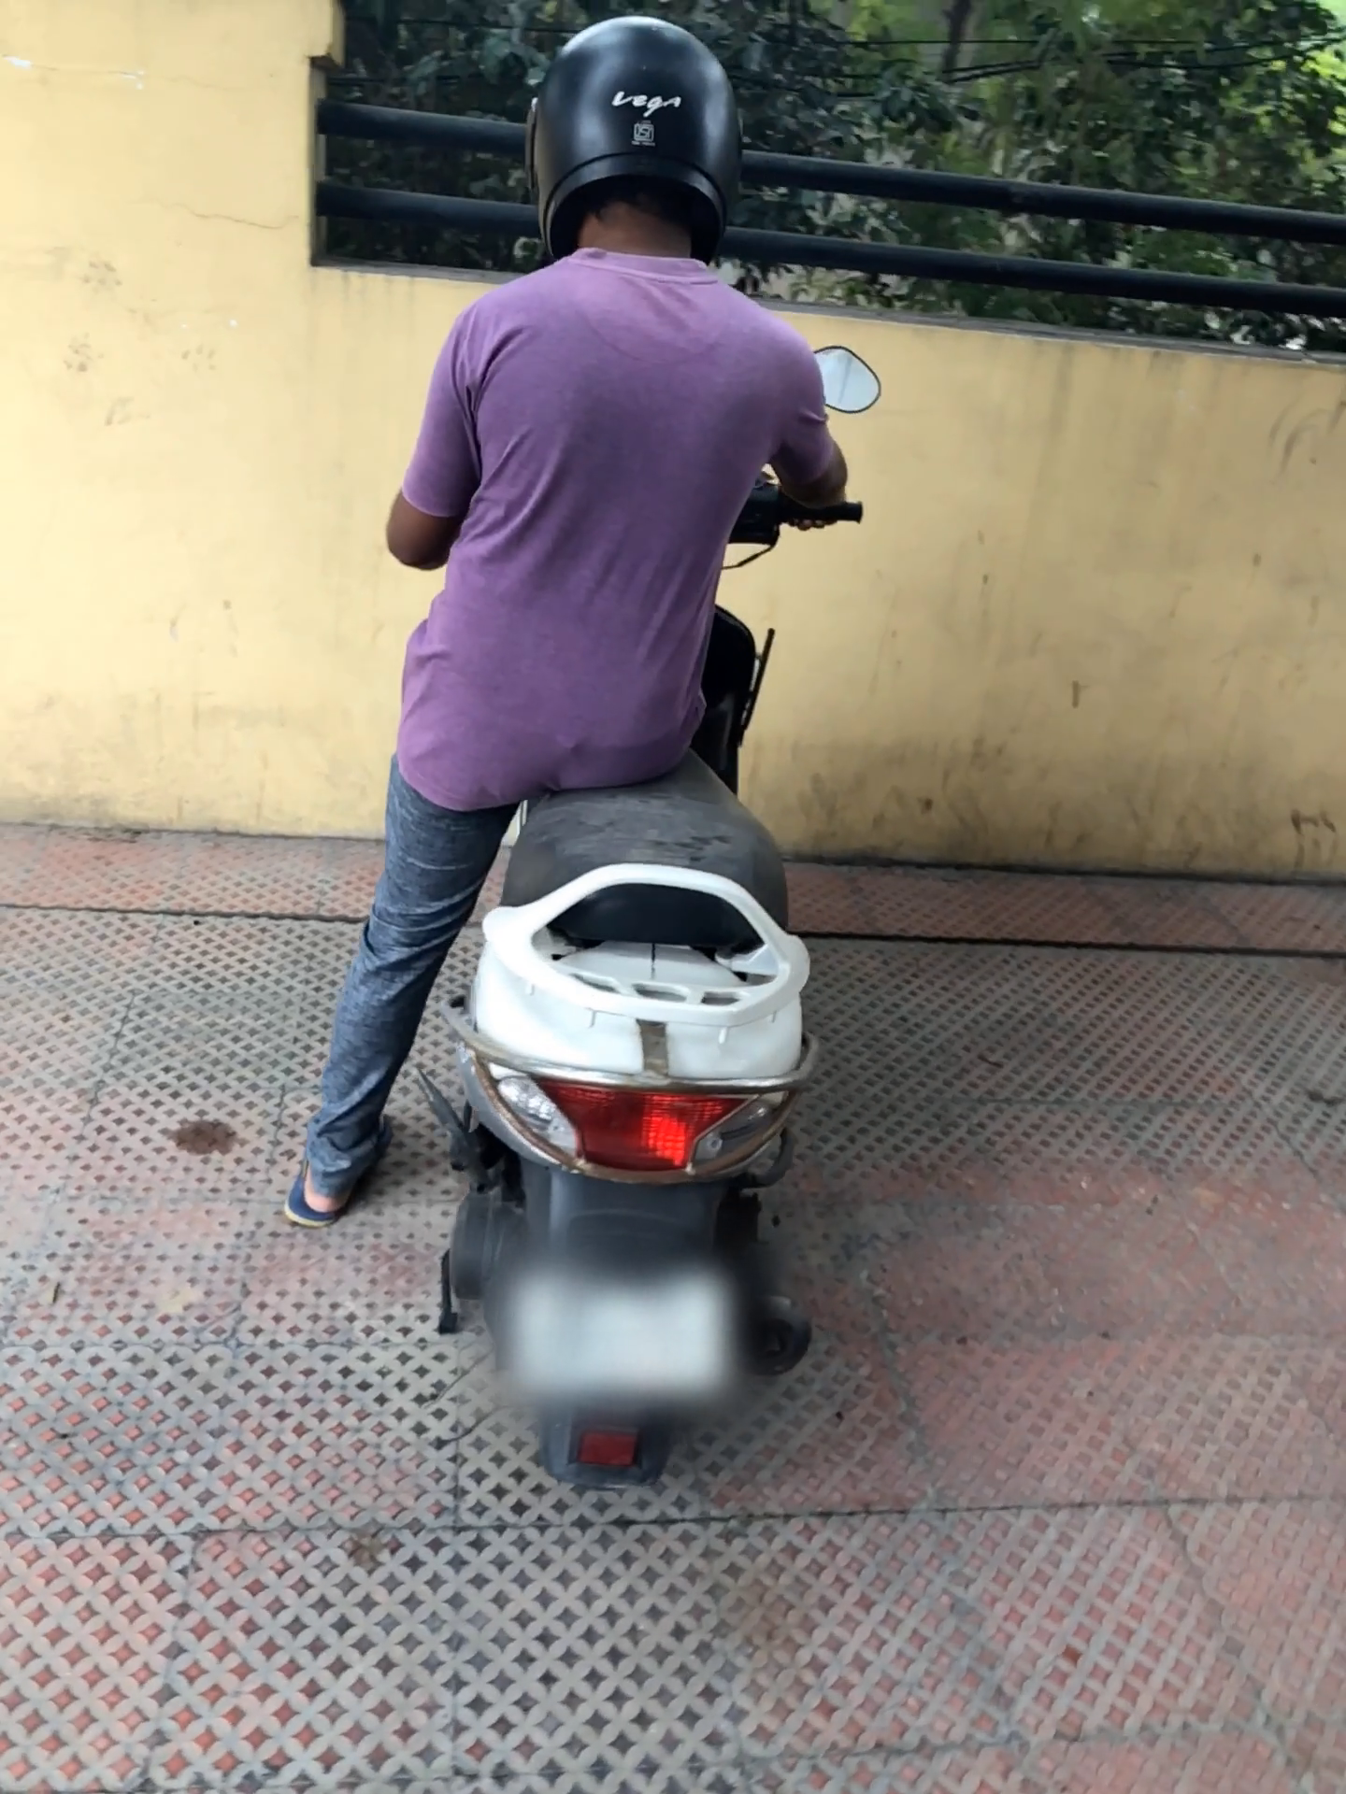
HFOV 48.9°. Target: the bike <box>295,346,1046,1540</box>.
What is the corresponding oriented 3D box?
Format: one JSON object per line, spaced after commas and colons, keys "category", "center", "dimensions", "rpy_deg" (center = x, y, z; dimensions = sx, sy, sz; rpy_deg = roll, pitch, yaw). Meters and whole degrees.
{"category": "bike", "center": [-0.116, -0.098, 2.114], "dimensions": [0.643, 0.949, 1.509], "rpy_deg": [3, 30, -7]}
